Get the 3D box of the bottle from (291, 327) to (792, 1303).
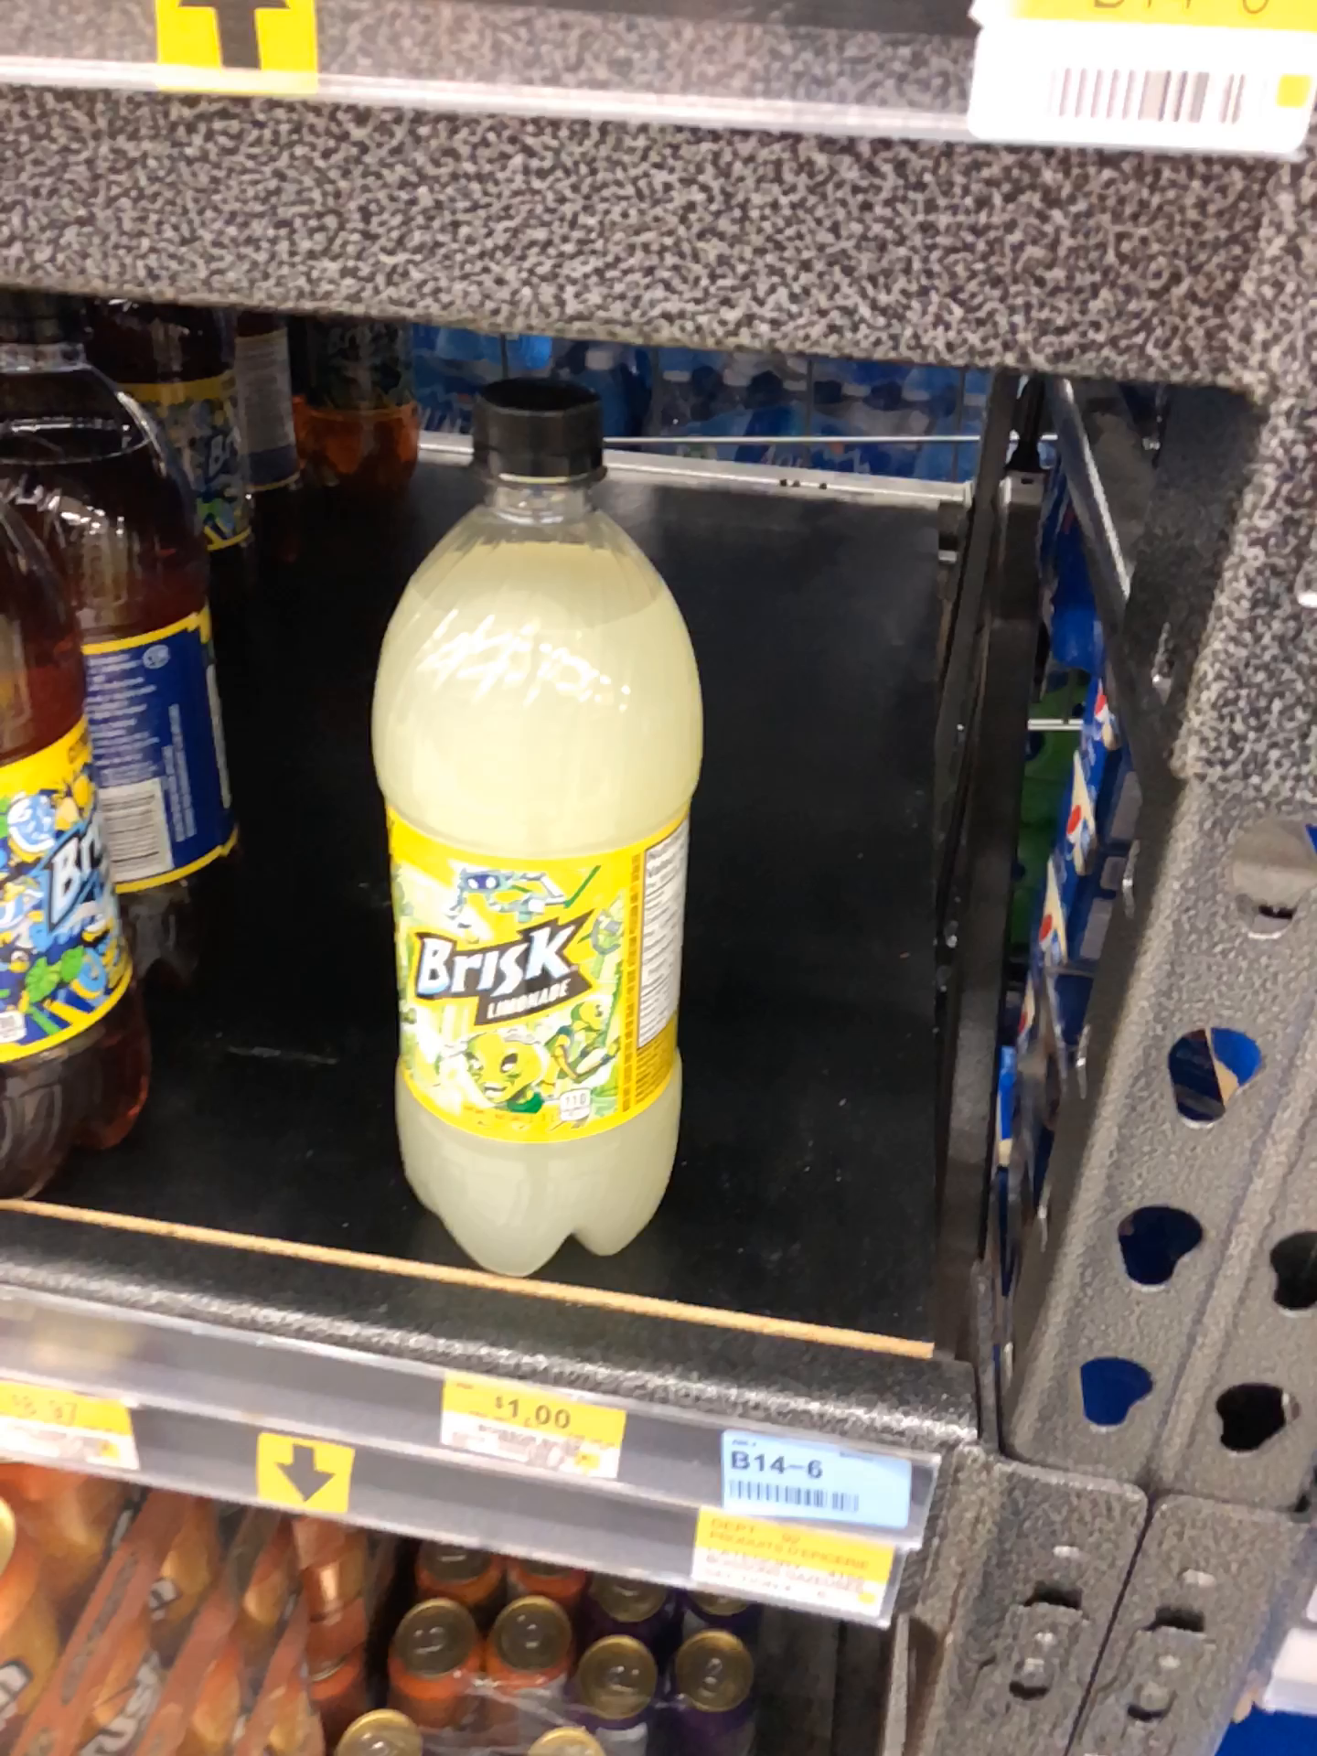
[{"bbox_3d":[-0.026,-0.011,0.379,0.090,0.228,0.091,3,32,-2],"label":"bottle"}]
